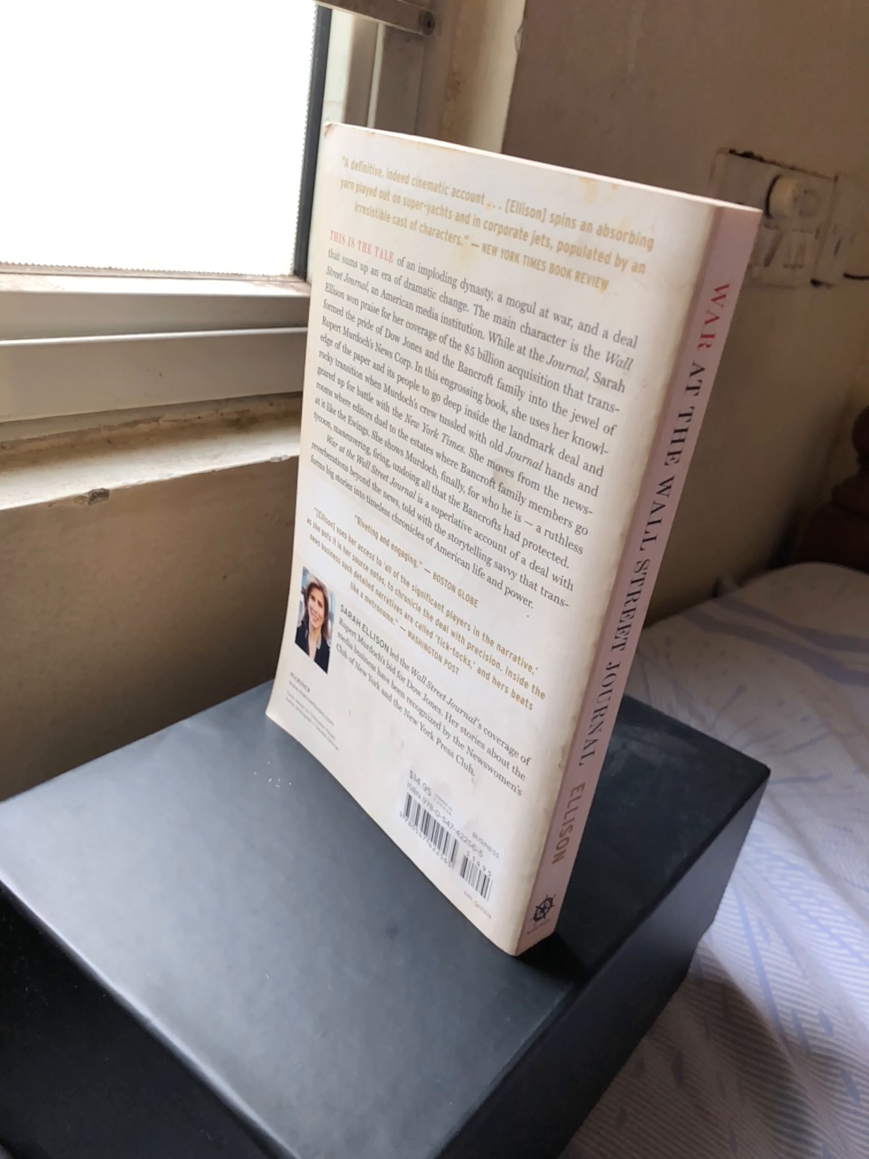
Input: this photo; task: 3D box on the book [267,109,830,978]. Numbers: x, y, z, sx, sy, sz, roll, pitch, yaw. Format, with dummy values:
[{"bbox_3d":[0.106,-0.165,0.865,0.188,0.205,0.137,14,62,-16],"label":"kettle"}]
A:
[{"bbox_3d":[0.009,-0.018,0.278,0.030,0.199,0.150,-10,30,-37],"label":"book"}]
